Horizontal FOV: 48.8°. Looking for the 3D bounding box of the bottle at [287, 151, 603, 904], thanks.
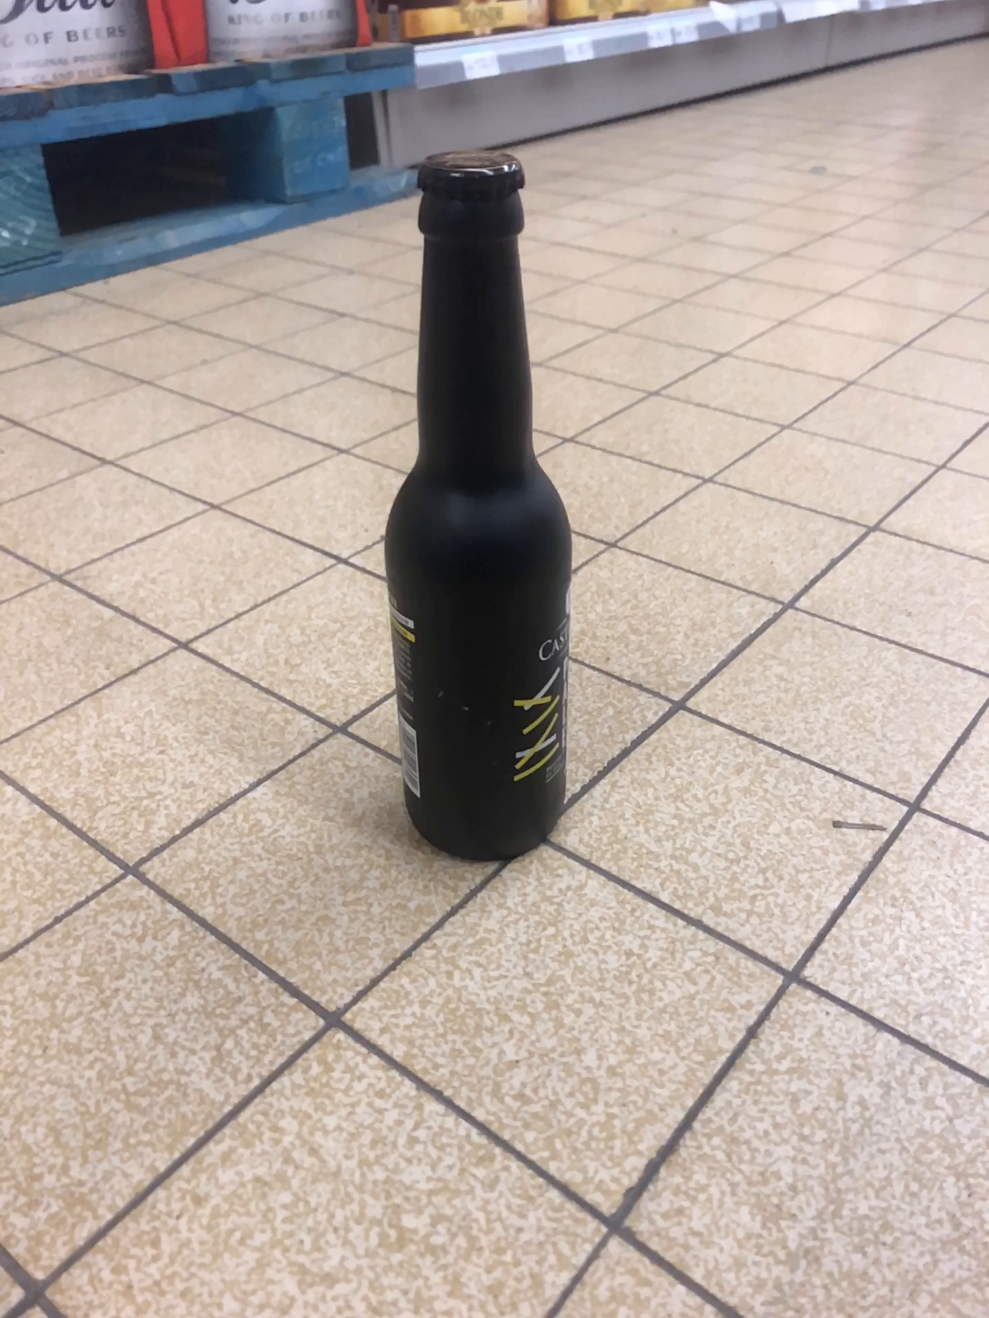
[{"bbox_3d":[-0.007,-0.031,0.335,0.070,0.219,0.070,-1,33,0],"label":"bottle"}]
